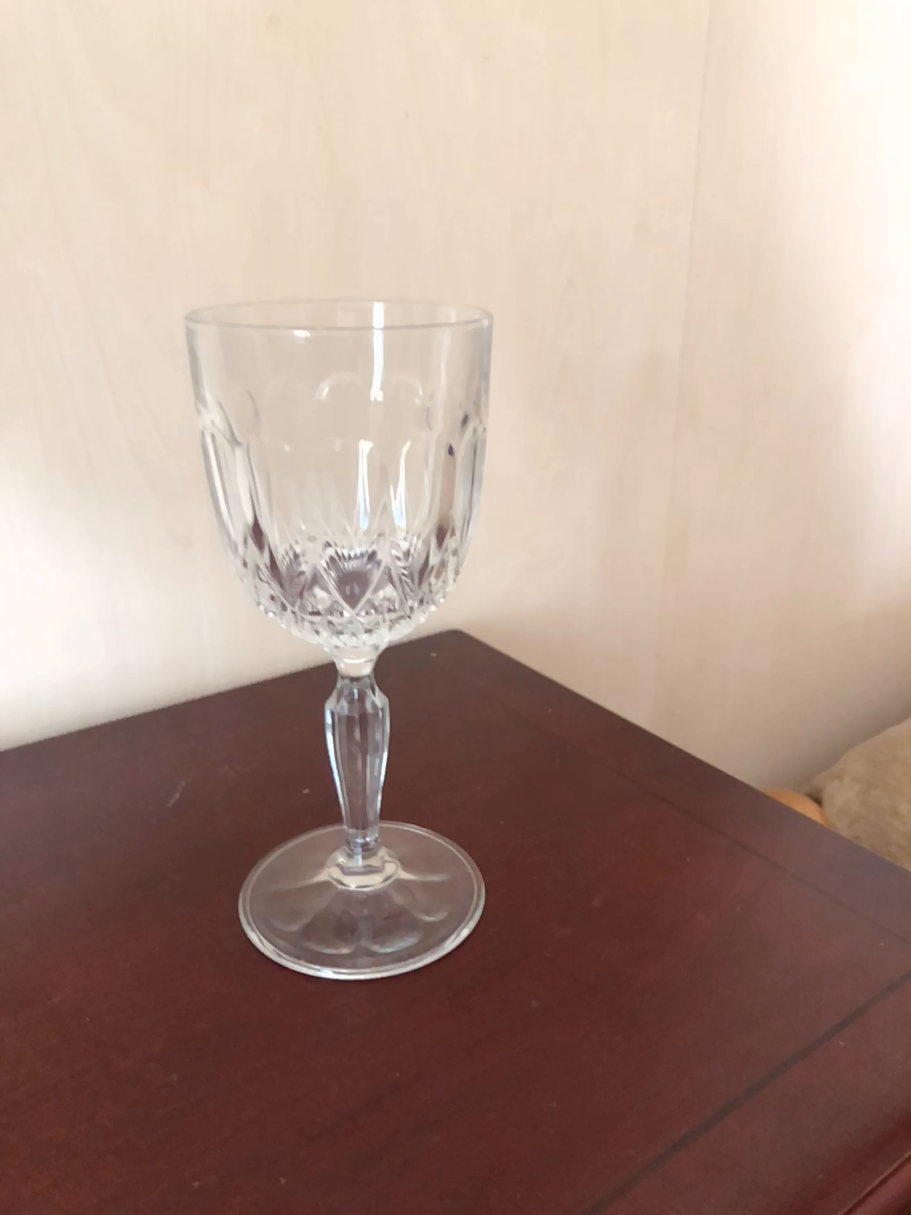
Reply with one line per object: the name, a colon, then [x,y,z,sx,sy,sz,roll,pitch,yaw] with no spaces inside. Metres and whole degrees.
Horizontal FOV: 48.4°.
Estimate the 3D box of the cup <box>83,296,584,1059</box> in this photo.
cup: [-0.034,0.009,0.289,0.096,0.178,0.092,0,21,0]
